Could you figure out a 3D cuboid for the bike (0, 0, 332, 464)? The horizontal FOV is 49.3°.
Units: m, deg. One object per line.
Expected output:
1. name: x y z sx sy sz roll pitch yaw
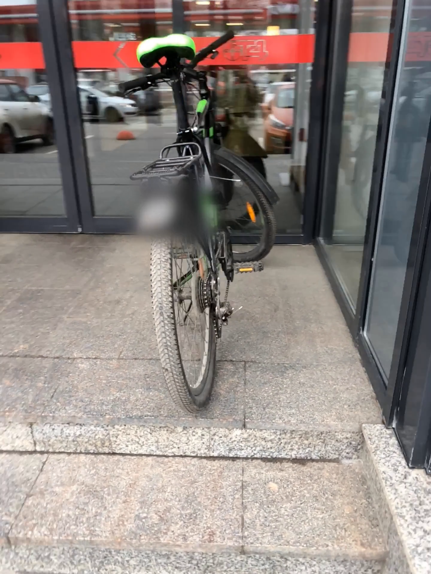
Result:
1. bike: -0.173 -0.340 1.704 0.628 1.051 1.552 -2 23 -3
